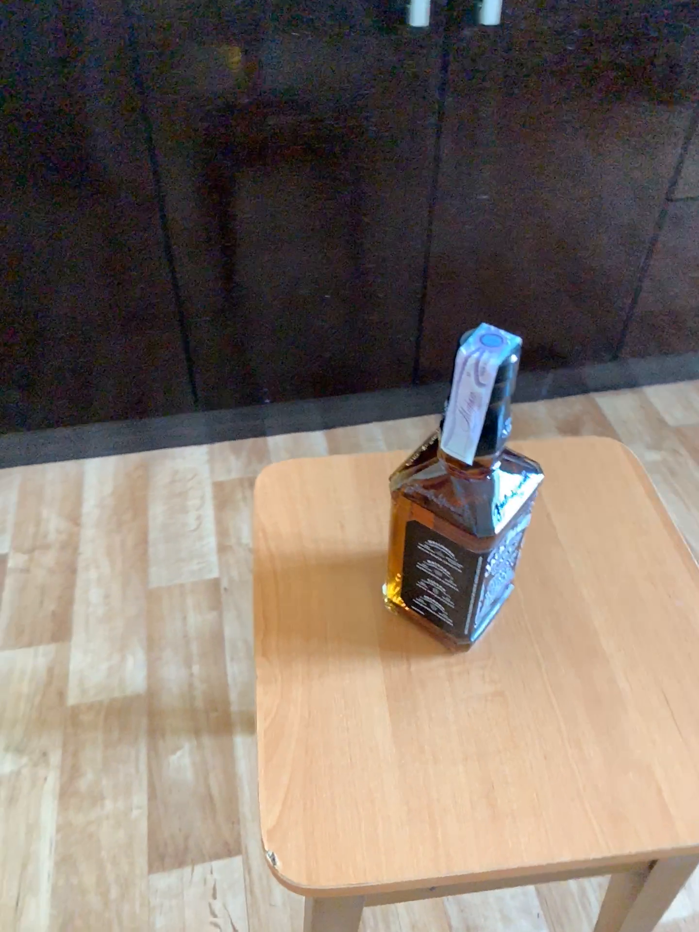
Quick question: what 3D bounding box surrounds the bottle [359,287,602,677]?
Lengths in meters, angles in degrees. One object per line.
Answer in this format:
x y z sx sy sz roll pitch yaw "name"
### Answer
0.064 0.019 0.415 0.080 0.209 0.080 1 45 -1 "bottle"
